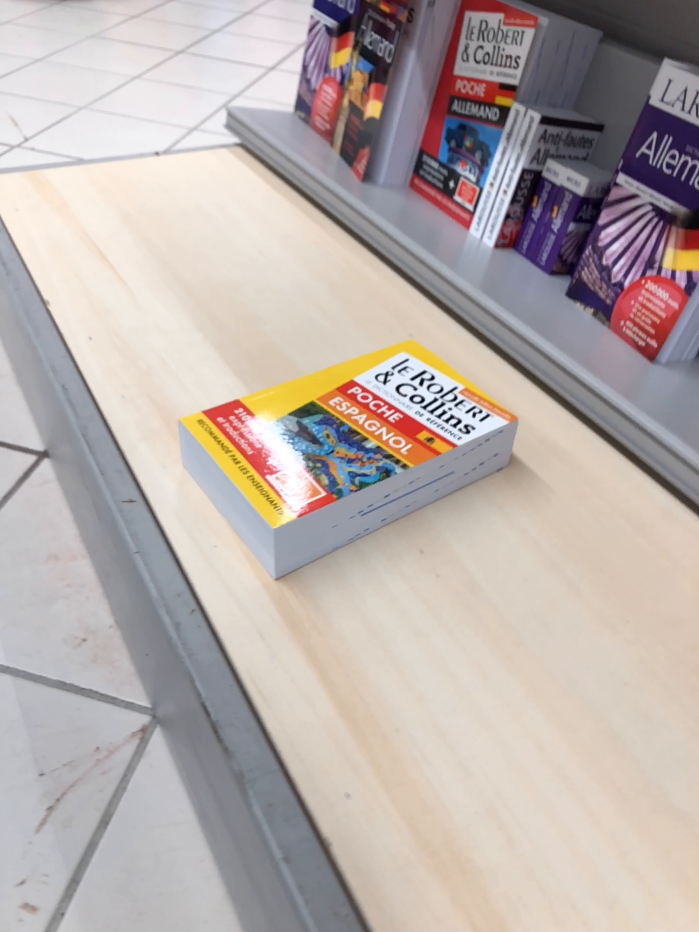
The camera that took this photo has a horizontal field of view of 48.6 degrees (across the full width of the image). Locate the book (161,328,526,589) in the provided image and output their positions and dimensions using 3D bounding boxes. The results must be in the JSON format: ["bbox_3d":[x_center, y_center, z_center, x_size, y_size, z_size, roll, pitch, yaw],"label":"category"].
[{"bbox_3d":[-0.002,-0.015,0.460,0.181,0.040,0.110,-23,49,-28],"label":"book"}]
